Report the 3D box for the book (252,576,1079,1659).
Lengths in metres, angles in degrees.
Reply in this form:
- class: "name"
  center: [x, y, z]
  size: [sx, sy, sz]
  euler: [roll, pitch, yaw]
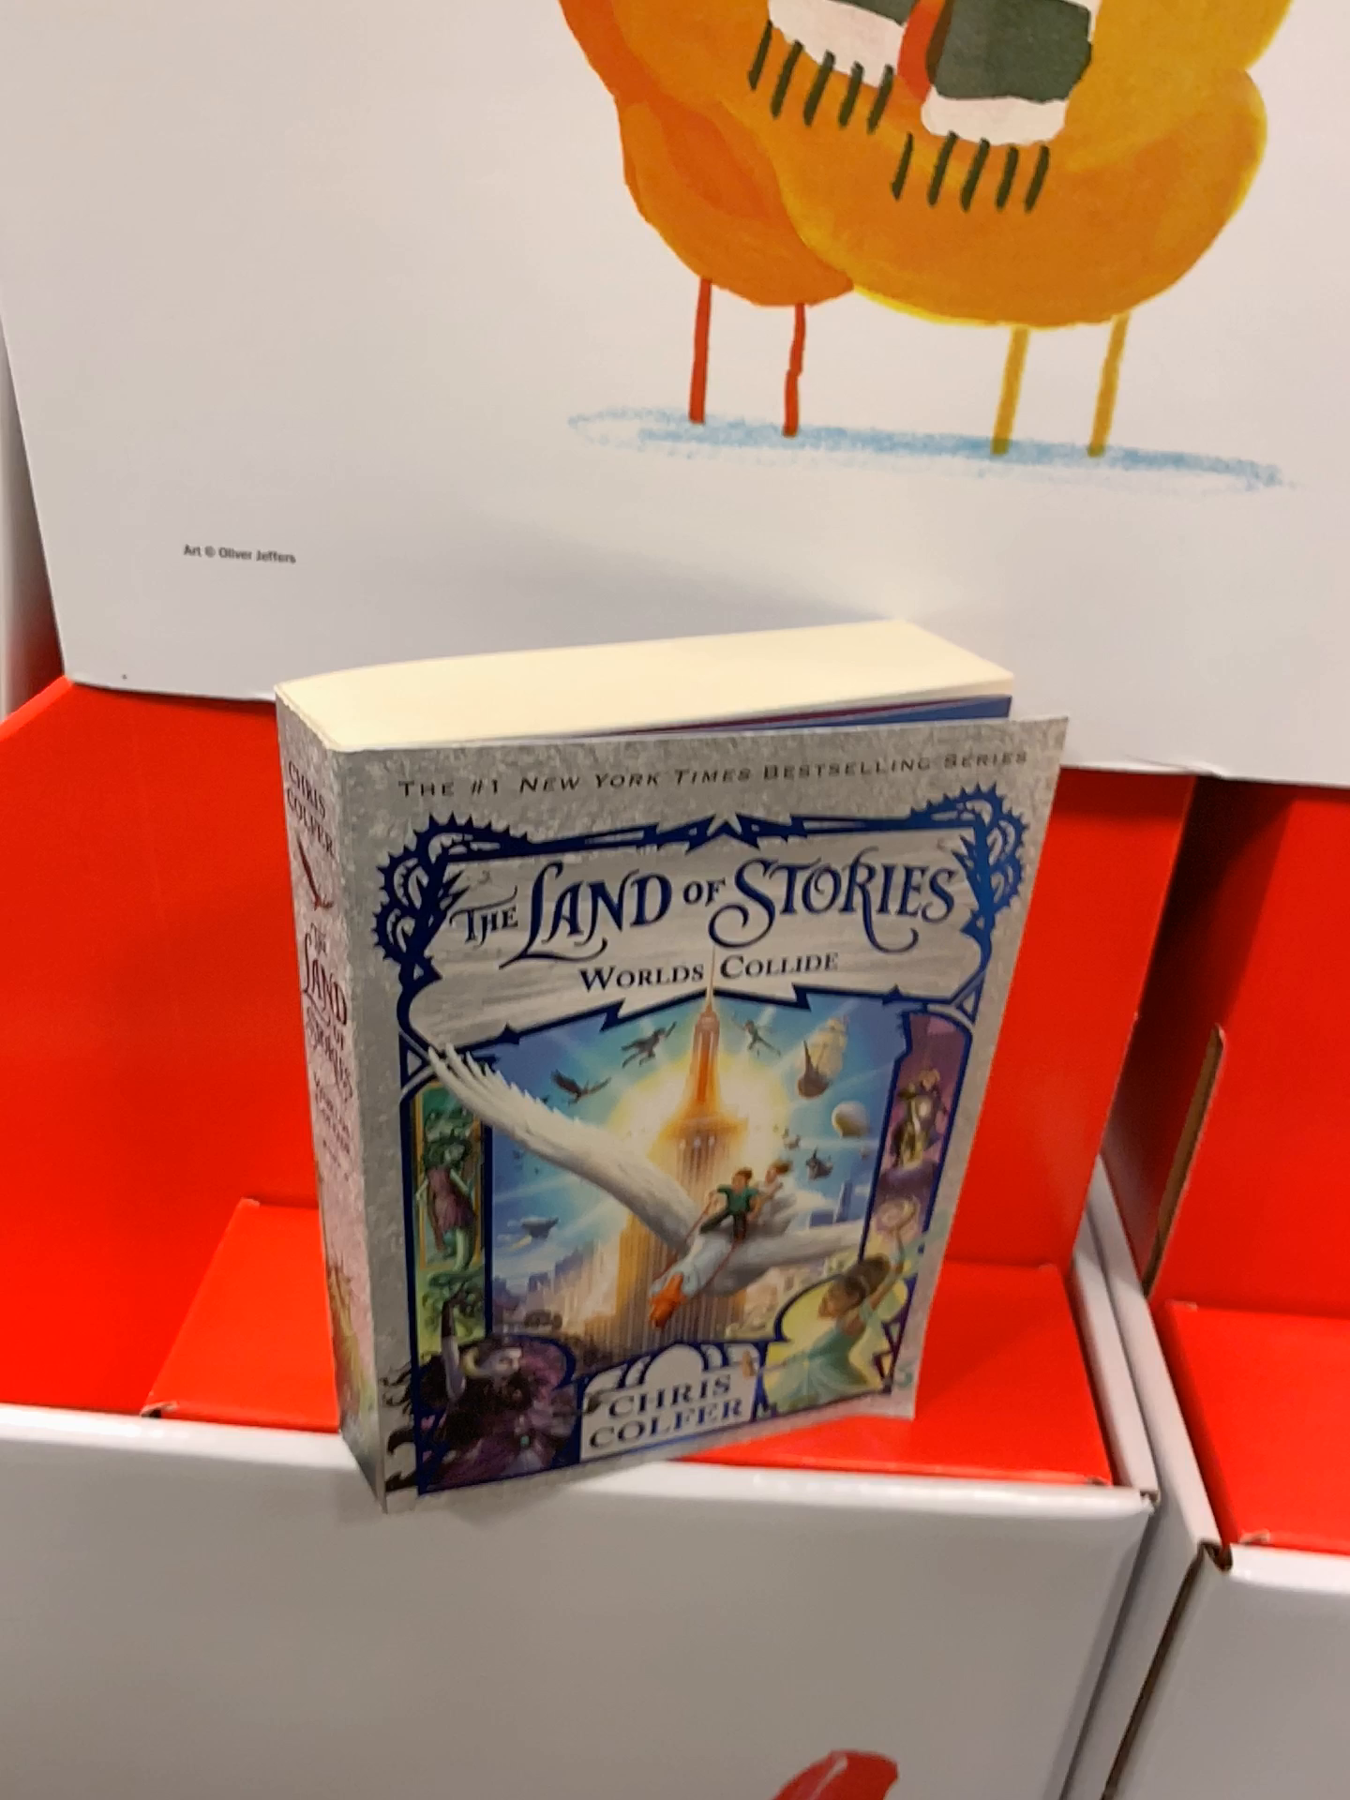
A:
- class: "book"
  center: [-0.004, 0.043, 0.293]
  size: [0.130, 0.193, 0.065]
  euler: [-13, 33, -25]
